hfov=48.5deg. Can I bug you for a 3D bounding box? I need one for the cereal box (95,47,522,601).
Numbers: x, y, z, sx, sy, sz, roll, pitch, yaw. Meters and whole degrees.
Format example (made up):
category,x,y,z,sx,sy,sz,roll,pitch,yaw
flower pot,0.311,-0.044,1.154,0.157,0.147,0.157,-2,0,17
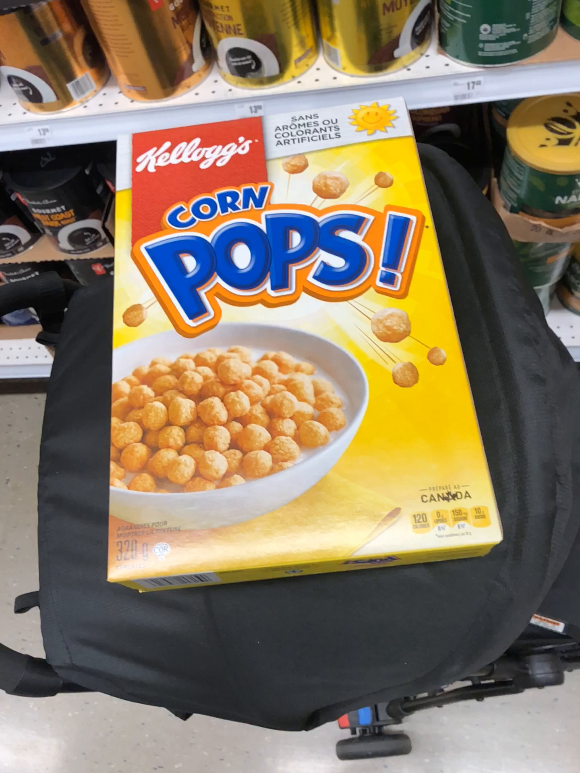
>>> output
category,x,y,z,sx,sy,sz,roll,pitch,yaw
cereal box,-0.004,-0.050,0.389,0.200,0.060,0.320,-7,67,4
